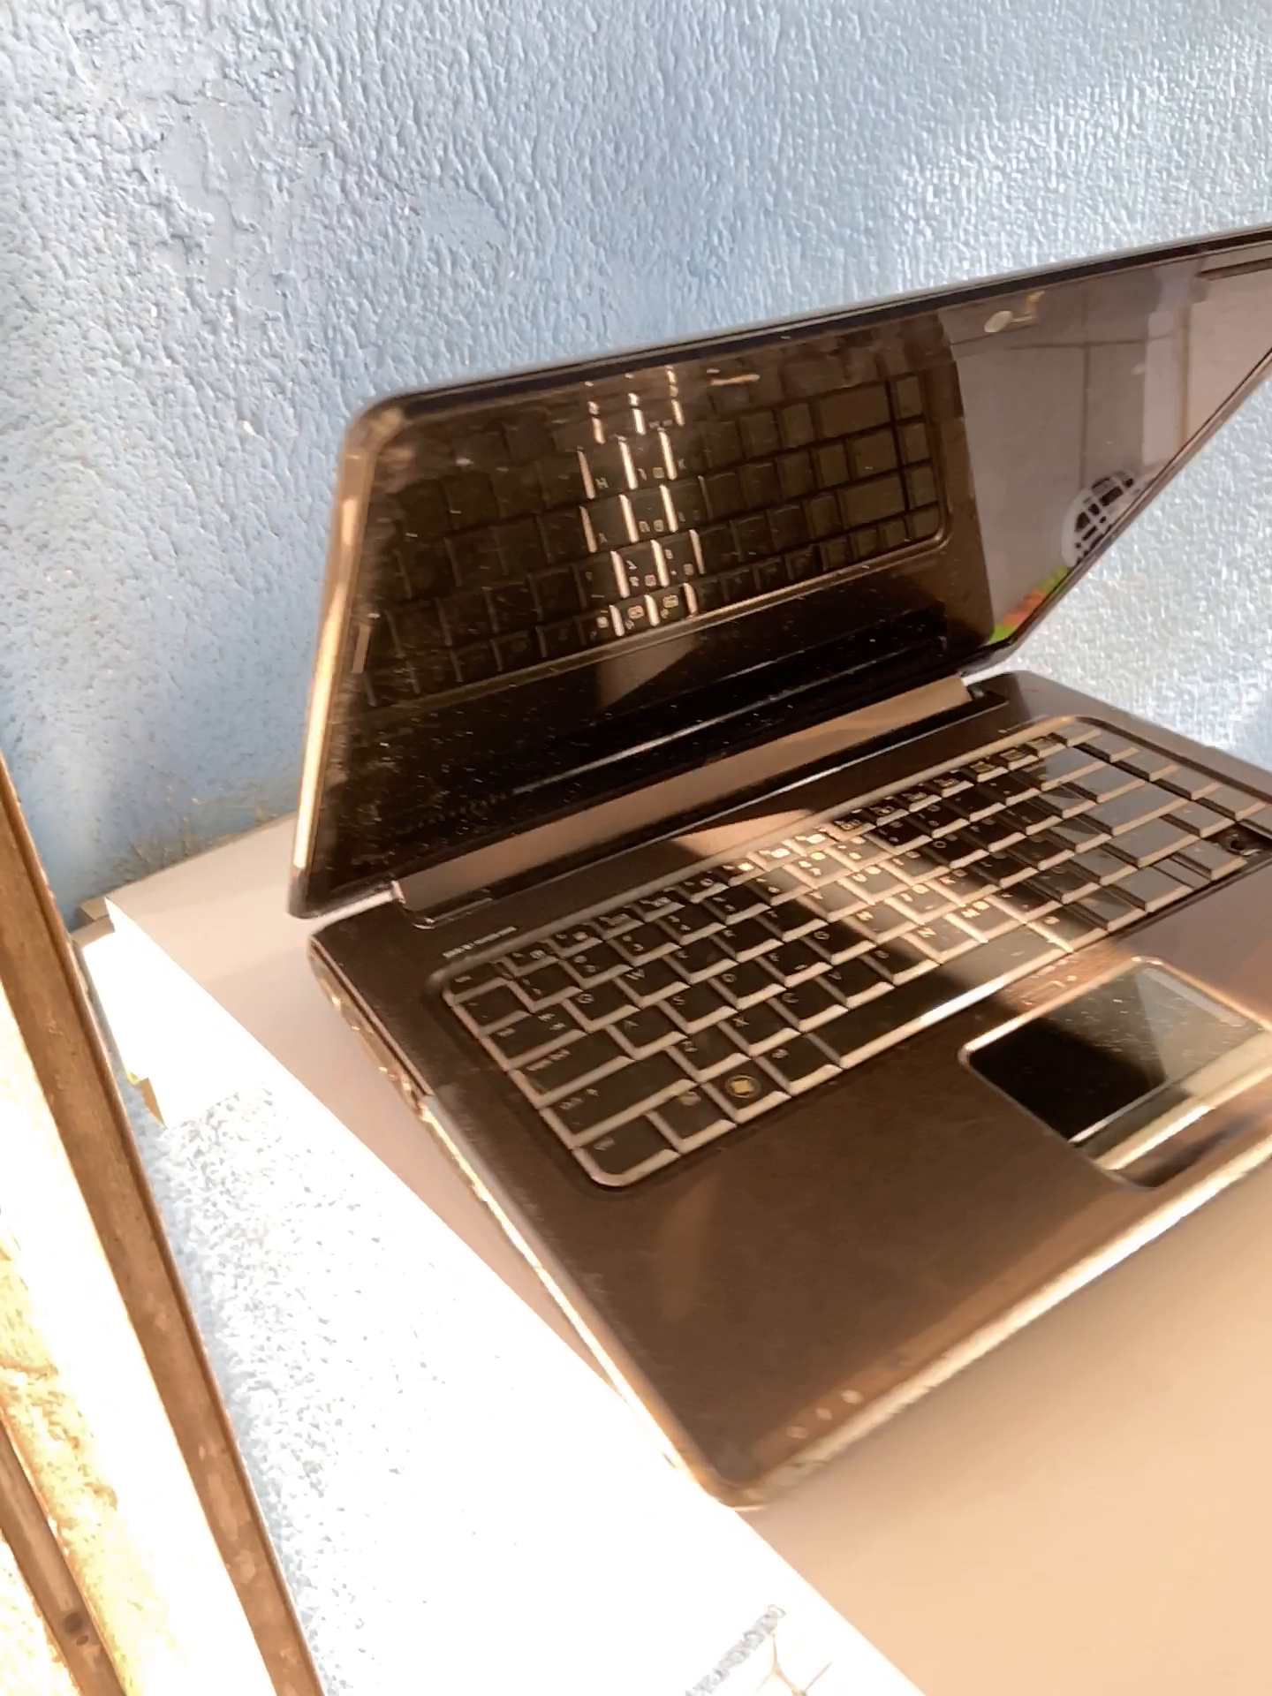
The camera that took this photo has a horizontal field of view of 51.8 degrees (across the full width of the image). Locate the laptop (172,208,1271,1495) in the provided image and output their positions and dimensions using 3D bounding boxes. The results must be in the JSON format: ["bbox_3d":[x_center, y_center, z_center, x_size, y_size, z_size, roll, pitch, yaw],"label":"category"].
[{"bbox_3d":[0.092,-0.058,0.386,0.344,0.190,0.245,-21,34,-26],"label":"laptop"}]
